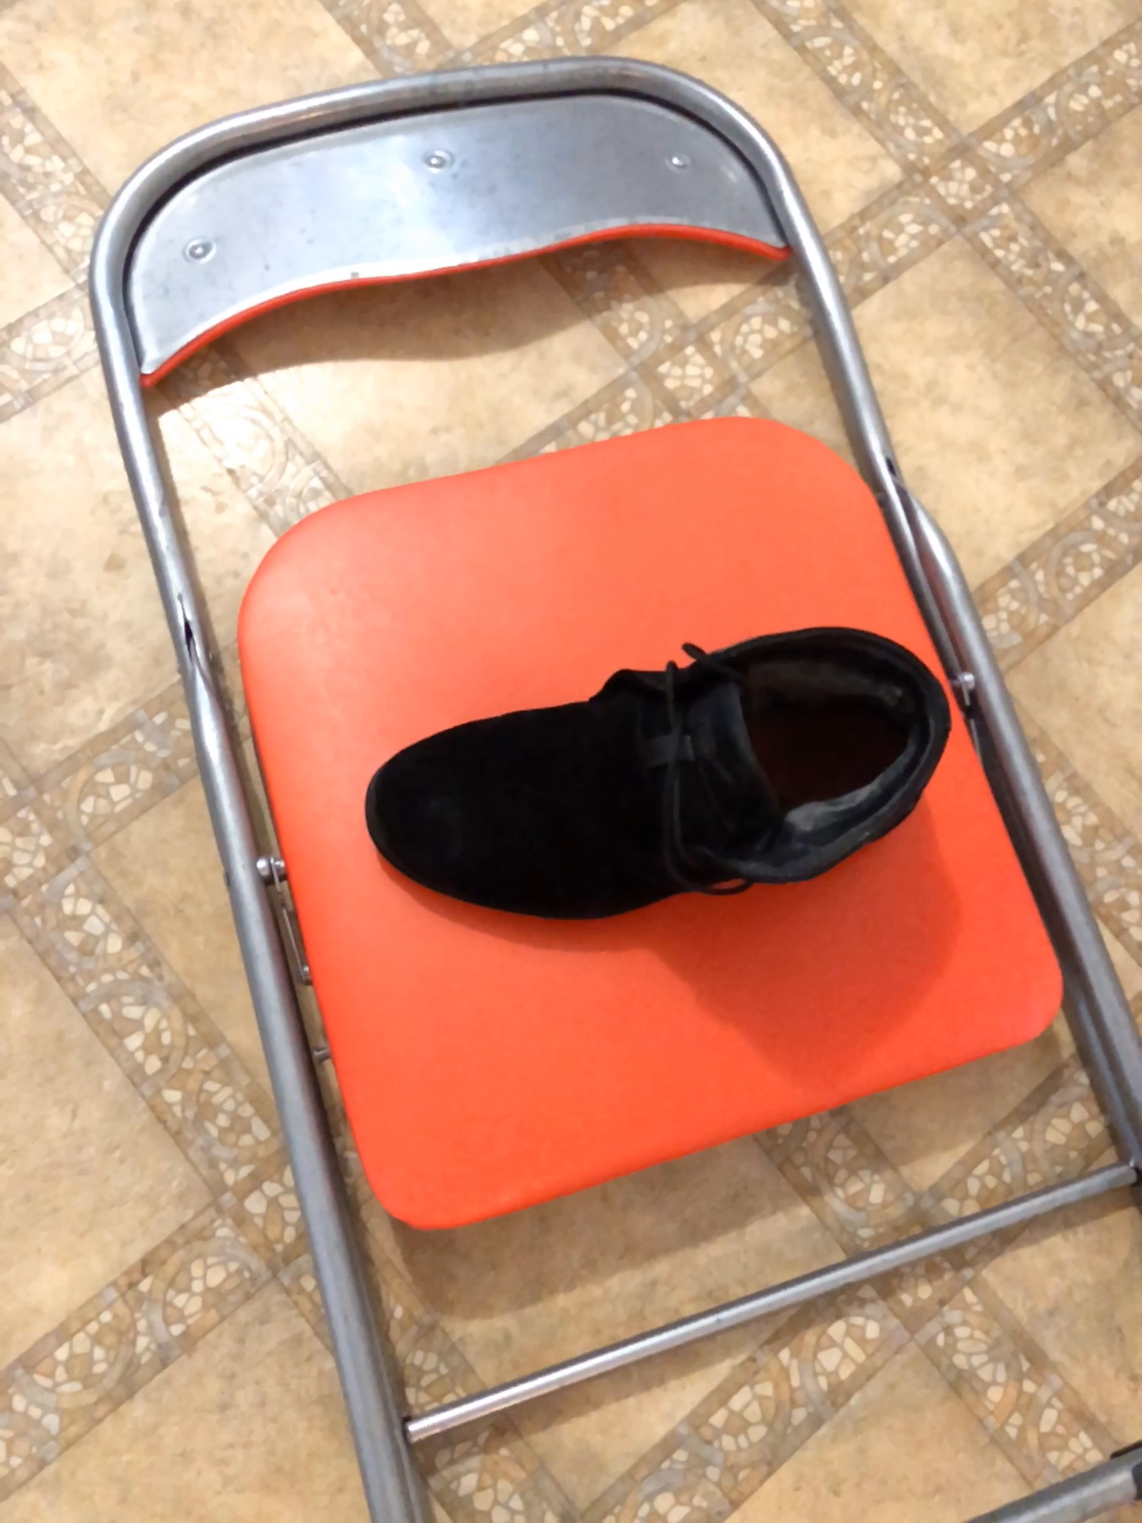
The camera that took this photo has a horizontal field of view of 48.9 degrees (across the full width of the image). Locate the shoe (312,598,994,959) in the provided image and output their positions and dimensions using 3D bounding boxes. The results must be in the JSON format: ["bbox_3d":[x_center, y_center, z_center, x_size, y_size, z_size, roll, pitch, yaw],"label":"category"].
[{"bbox_3d":[0.029,0.013,0.581,0.270,0.130,0.110,-7,79,-7],"label":"shoe"}]
